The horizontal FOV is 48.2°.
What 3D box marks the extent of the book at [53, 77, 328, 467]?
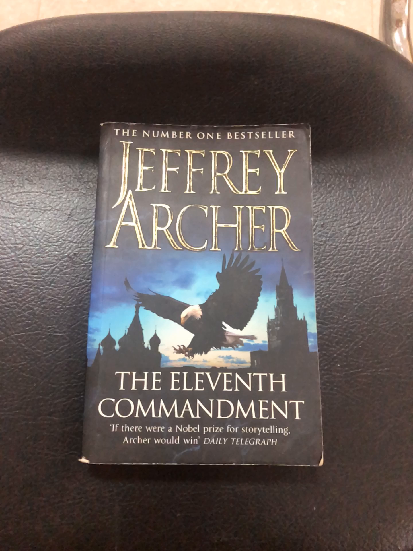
[{"bbox_3d":[-0.006,-0.004,0.257,0.130,0.040,0.200,2,79,-4],"label":"book"}]
